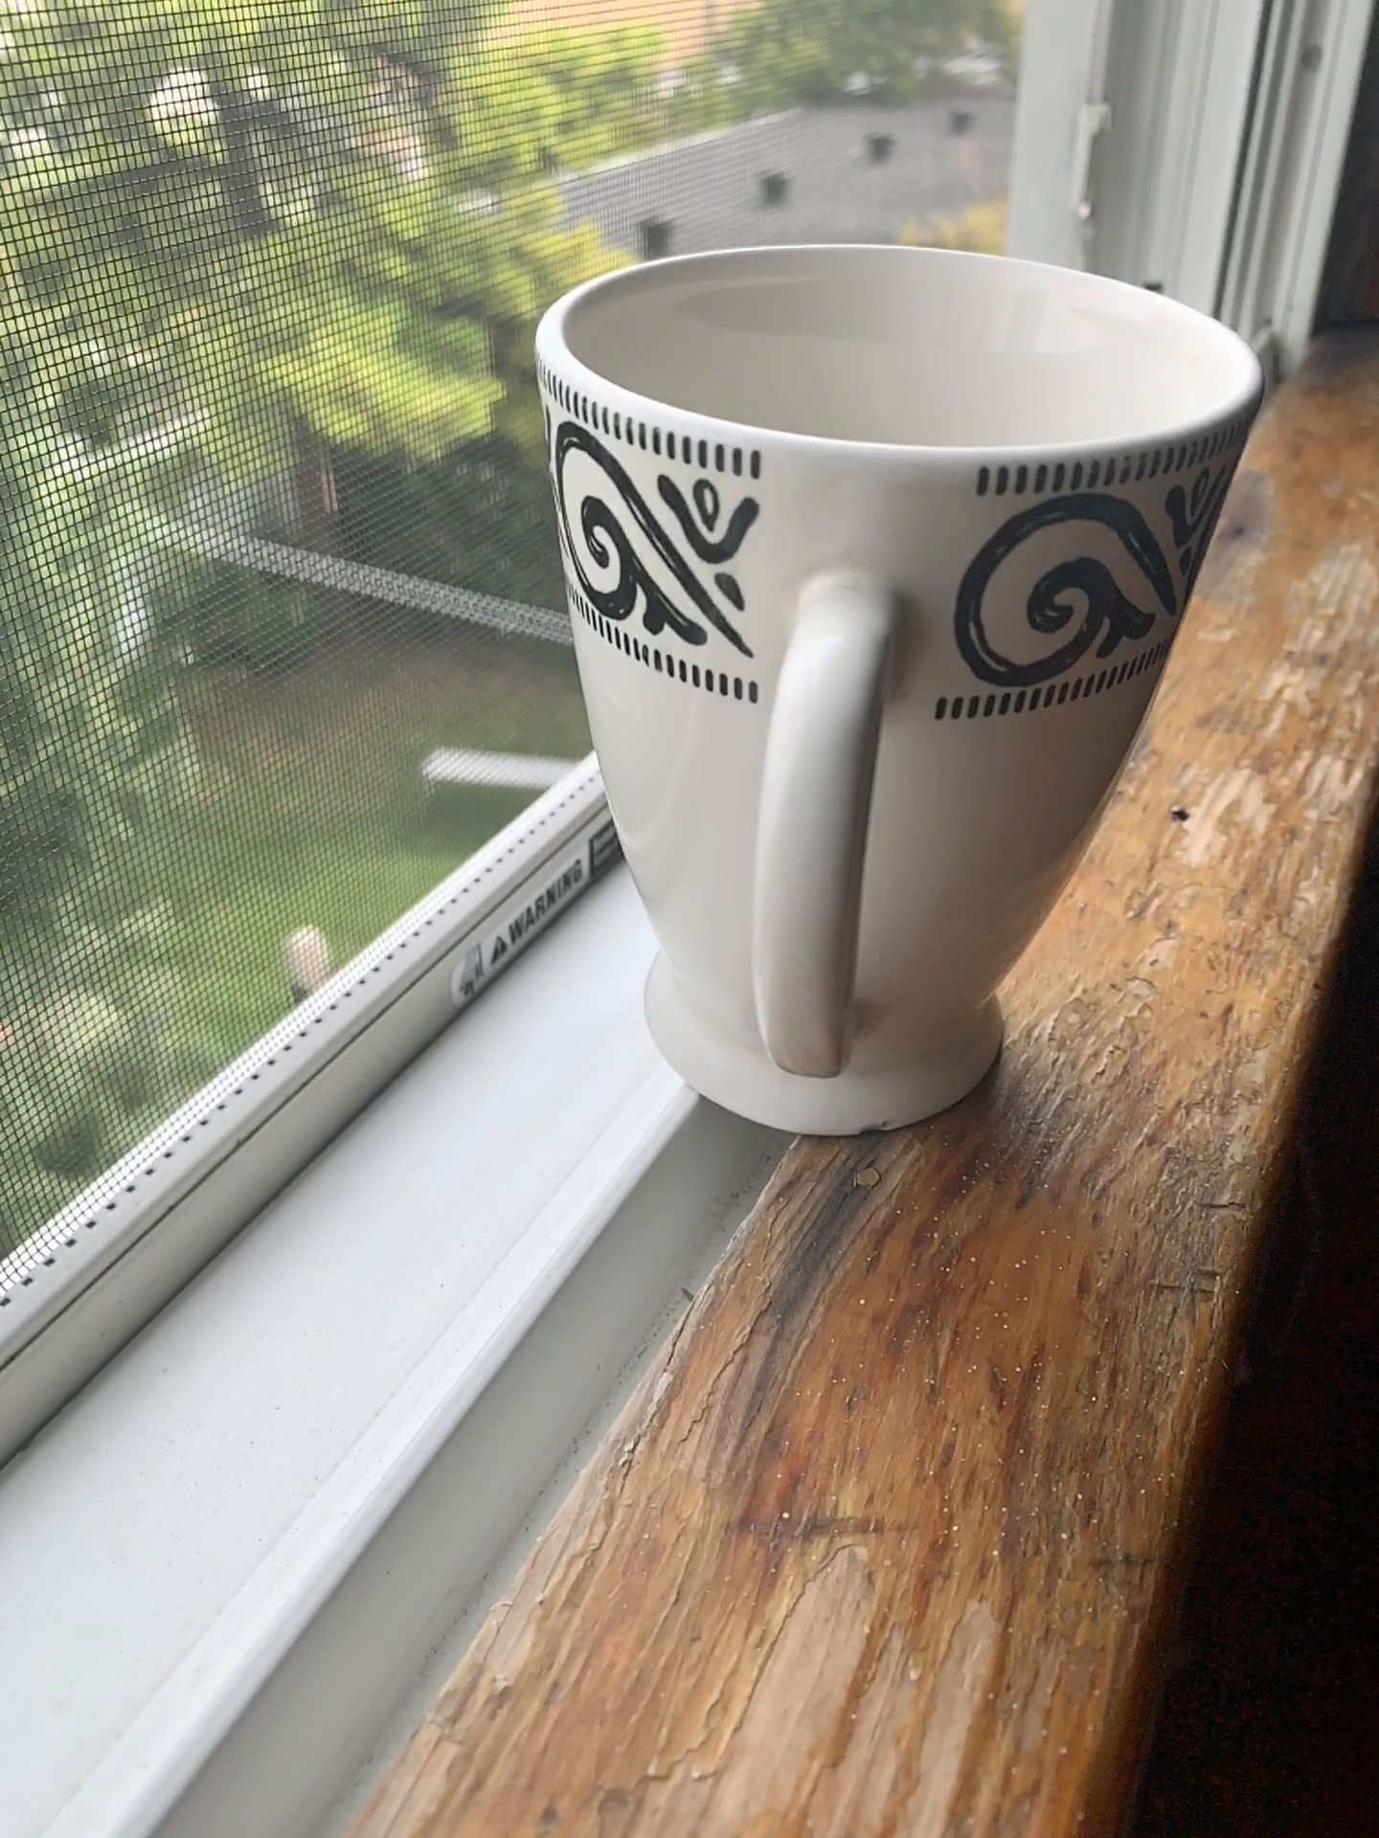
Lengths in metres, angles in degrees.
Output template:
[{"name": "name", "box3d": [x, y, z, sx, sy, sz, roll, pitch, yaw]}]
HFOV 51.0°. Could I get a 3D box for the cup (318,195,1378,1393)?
[{"name": "cup", "box3d": [0.021, -0.029, 0.183, 0.080, 0.089, 0.131, 7, 36, 7]}]
